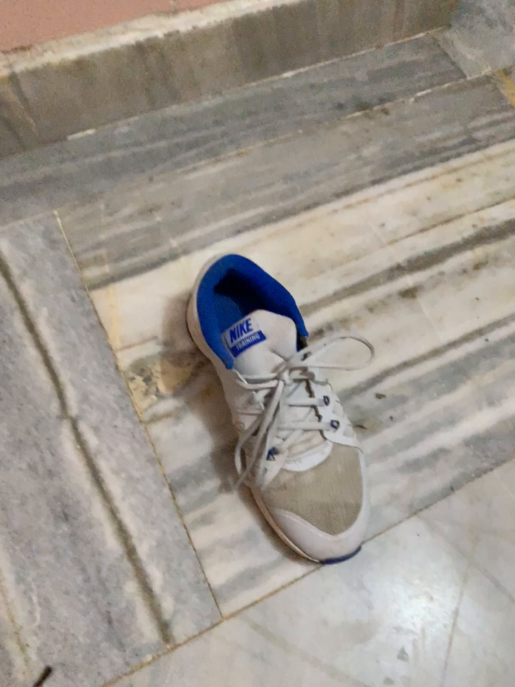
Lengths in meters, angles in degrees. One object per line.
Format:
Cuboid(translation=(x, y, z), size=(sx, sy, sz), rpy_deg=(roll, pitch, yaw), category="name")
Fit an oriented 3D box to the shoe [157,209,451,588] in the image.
Cuboid(translation=(0.022, 0.040, 0.472), size=(0.116, 0.100, 0.300), rpy_deg=(-21, 68, -14), category="shoe")
